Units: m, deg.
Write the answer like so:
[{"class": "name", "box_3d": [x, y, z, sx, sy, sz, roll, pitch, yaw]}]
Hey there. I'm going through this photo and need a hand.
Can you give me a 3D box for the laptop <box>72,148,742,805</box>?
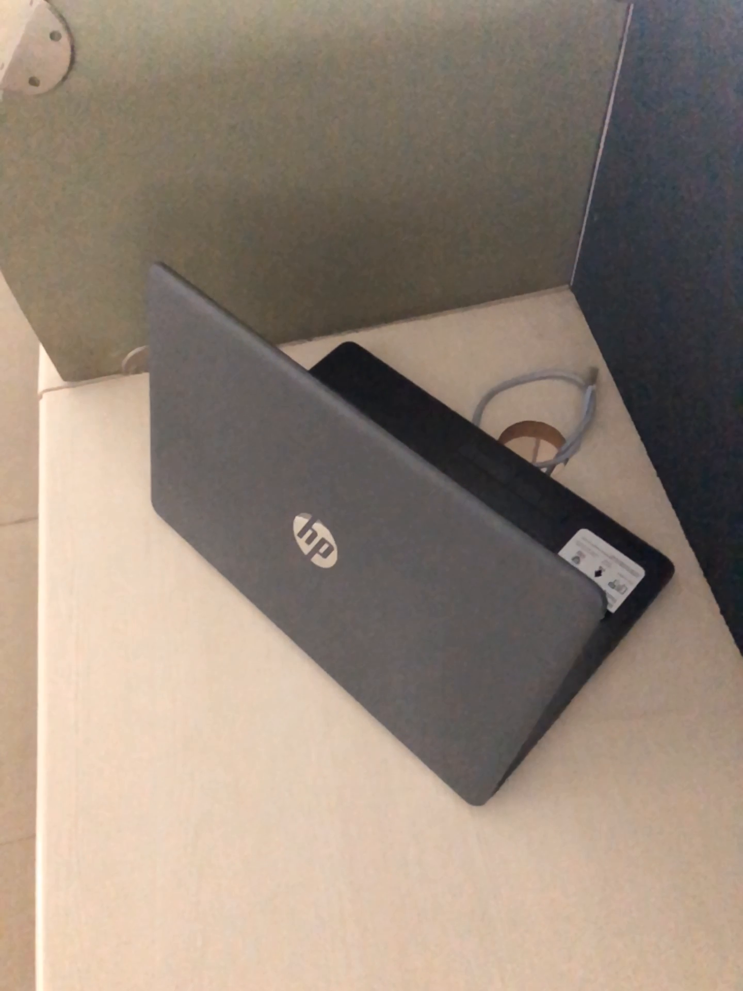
[{"class": "laptop", "box_3d": [0.019, -0.022, 0.589, 0.238, 0.216, 0.360, -42, 64, -19]}]
